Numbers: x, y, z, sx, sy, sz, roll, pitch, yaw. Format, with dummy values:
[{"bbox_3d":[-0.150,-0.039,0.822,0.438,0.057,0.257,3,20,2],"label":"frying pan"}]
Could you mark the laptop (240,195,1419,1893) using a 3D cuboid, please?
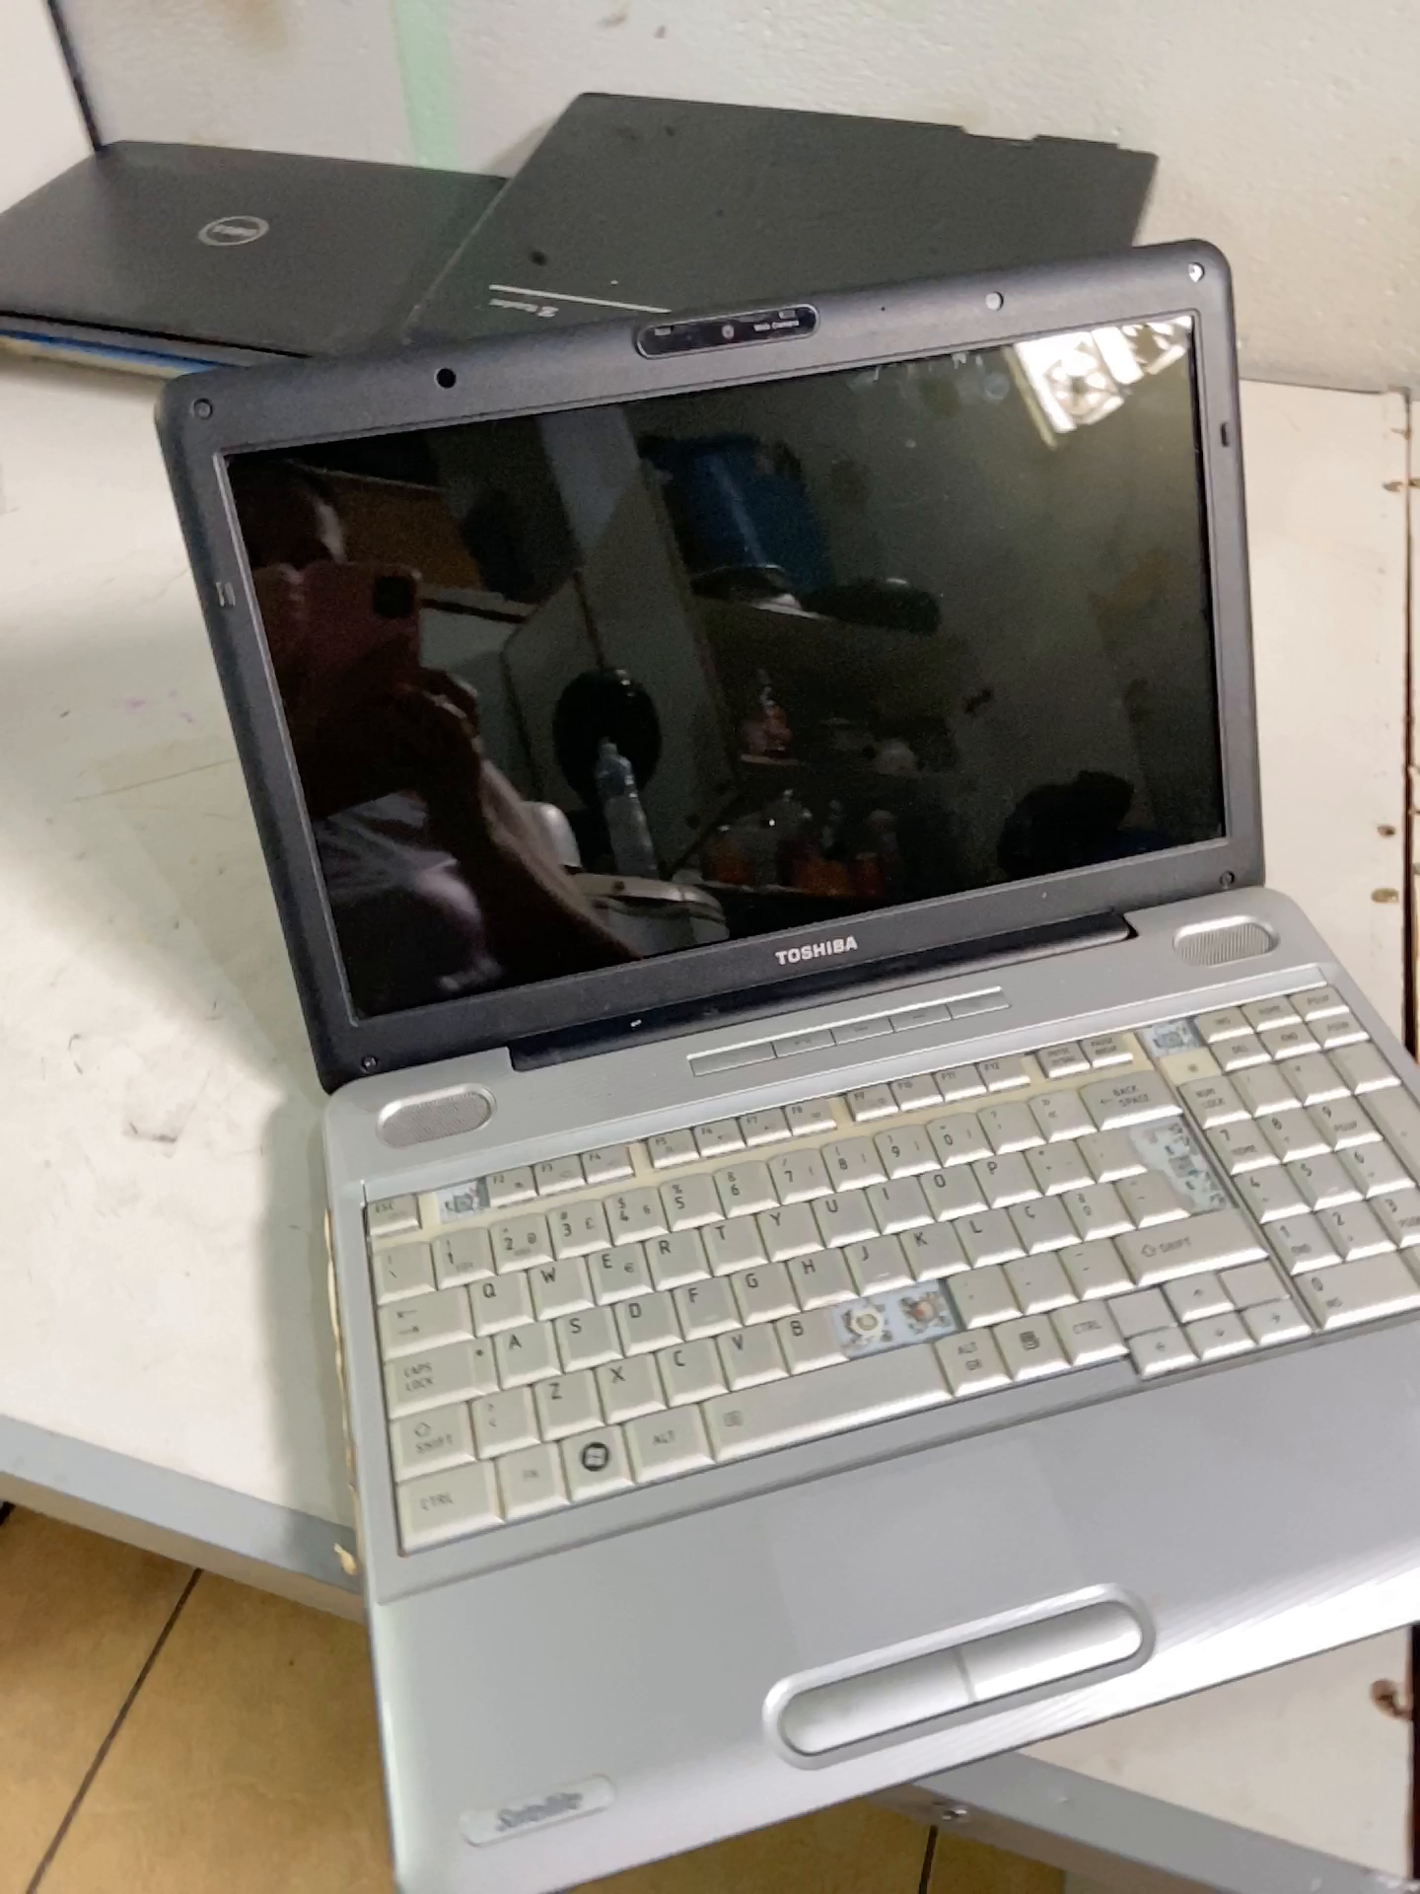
[{"bbox_3d":[0.082,-0.020,0.432,0.371,0.191,0.400,-12,49,-9],"label":"laptop"}]
